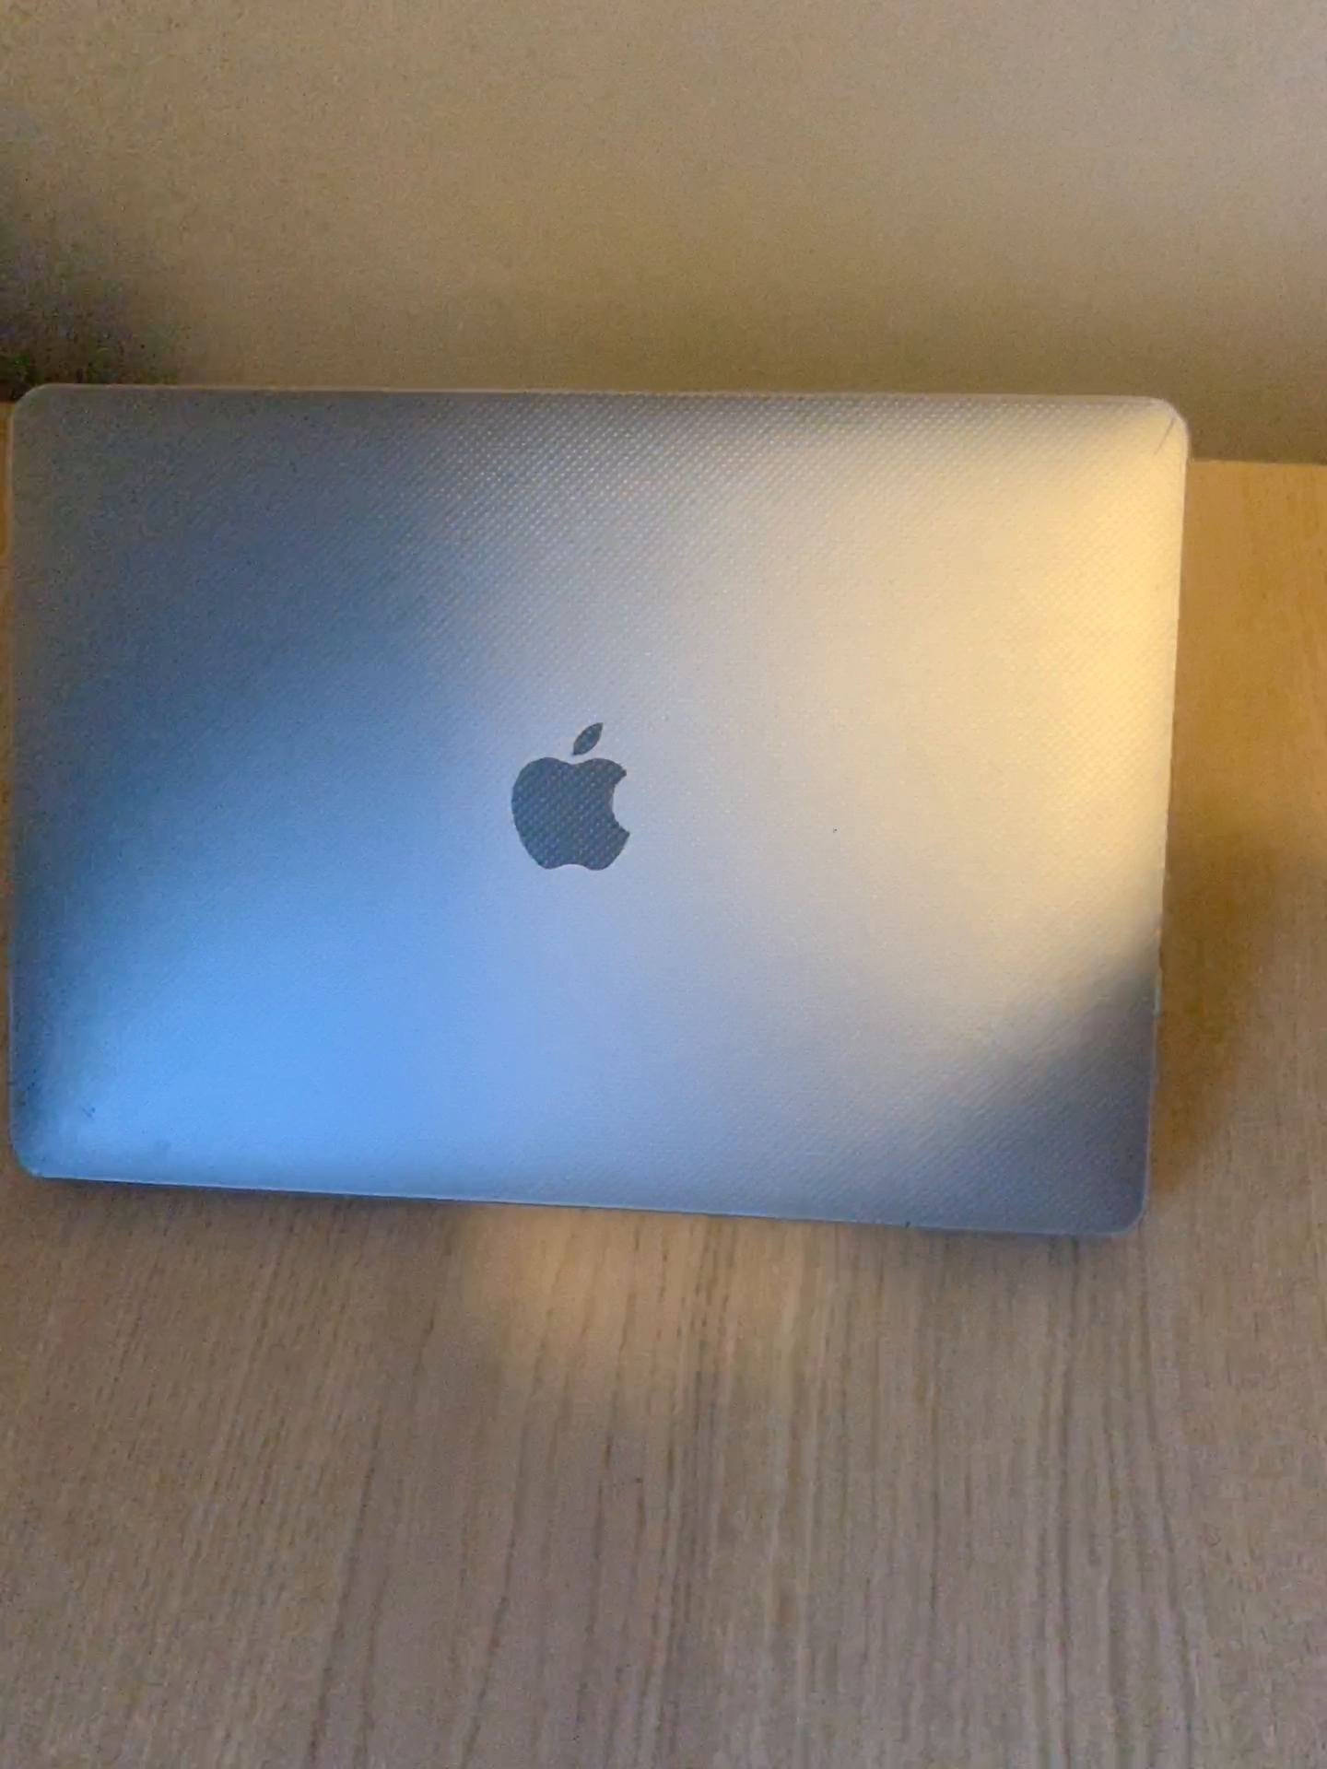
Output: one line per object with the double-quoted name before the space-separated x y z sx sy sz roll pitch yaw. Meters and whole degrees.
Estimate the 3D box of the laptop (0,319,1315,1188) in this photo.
"laptop" -0.024 -0.044 0.382 0.309 0.127 0.207 1 52 4
